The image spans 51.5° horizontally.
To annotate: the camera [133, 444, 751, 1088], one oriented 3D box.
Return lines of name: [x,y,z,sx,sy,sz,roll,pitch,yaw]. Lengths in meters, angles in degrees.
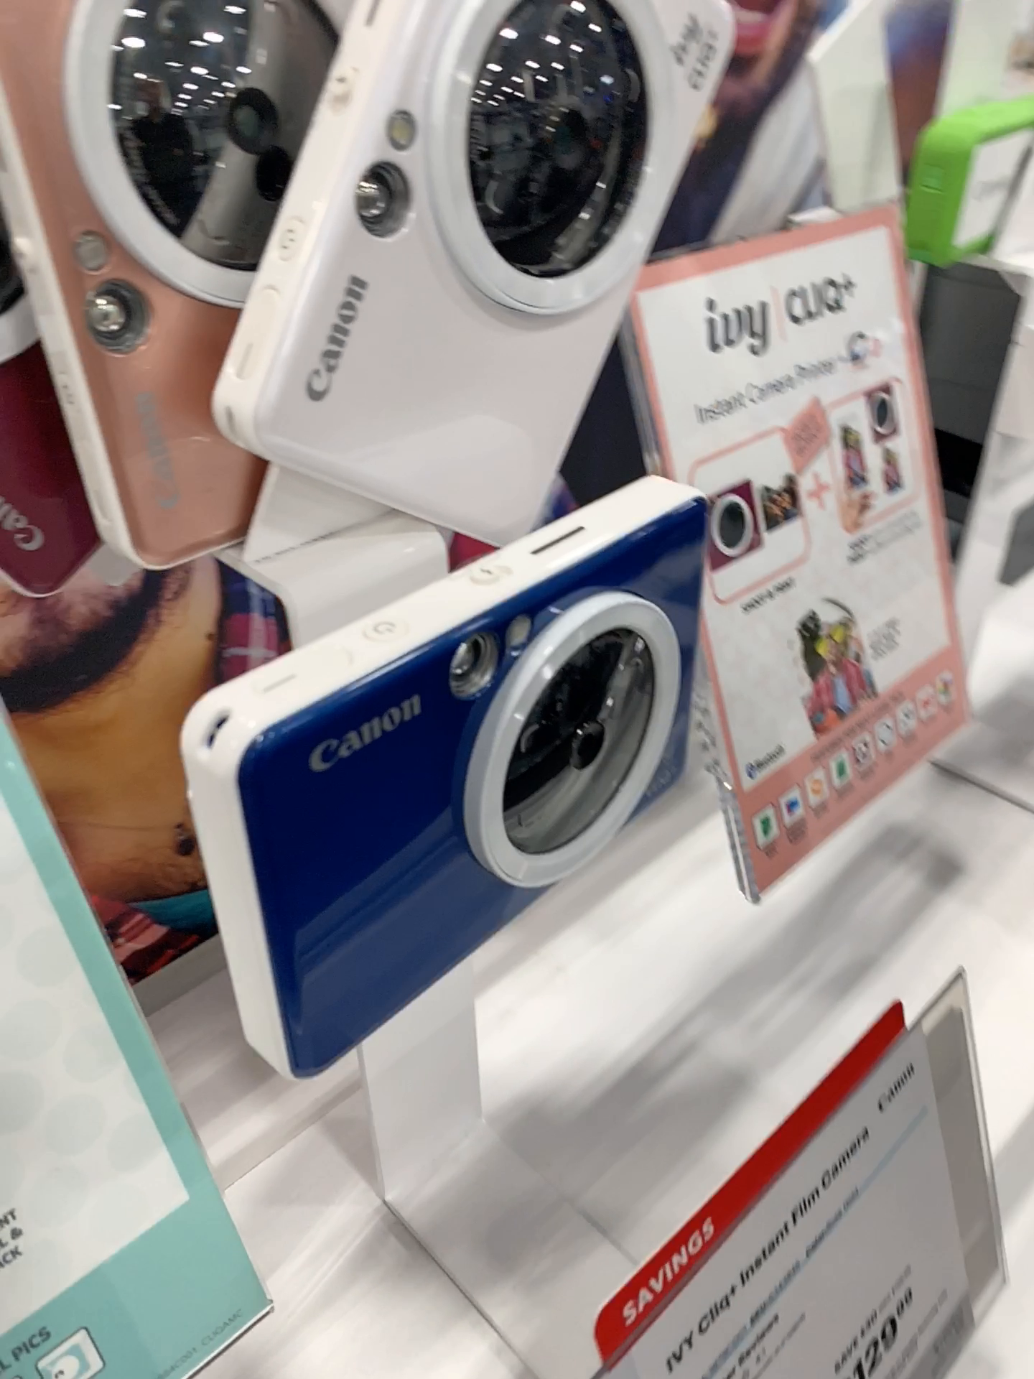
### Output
camera: [-0.005,0.008,0.205,0.028,0.070,0.120,28,44,34]

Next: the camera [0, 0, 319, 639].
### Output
camera: [-0.093,-0.073,0.180,0.028,0.110,0.078,28,72,33]

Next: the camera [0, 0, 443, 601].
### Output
camera: [-0.055,-0.087,0.194,0.028,0.119,0.078,28,44,35]

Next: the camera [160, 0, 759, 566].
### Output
camera: [-0.008,-0.092,0.205,0.028,0.120,0.078,29,10,39]
